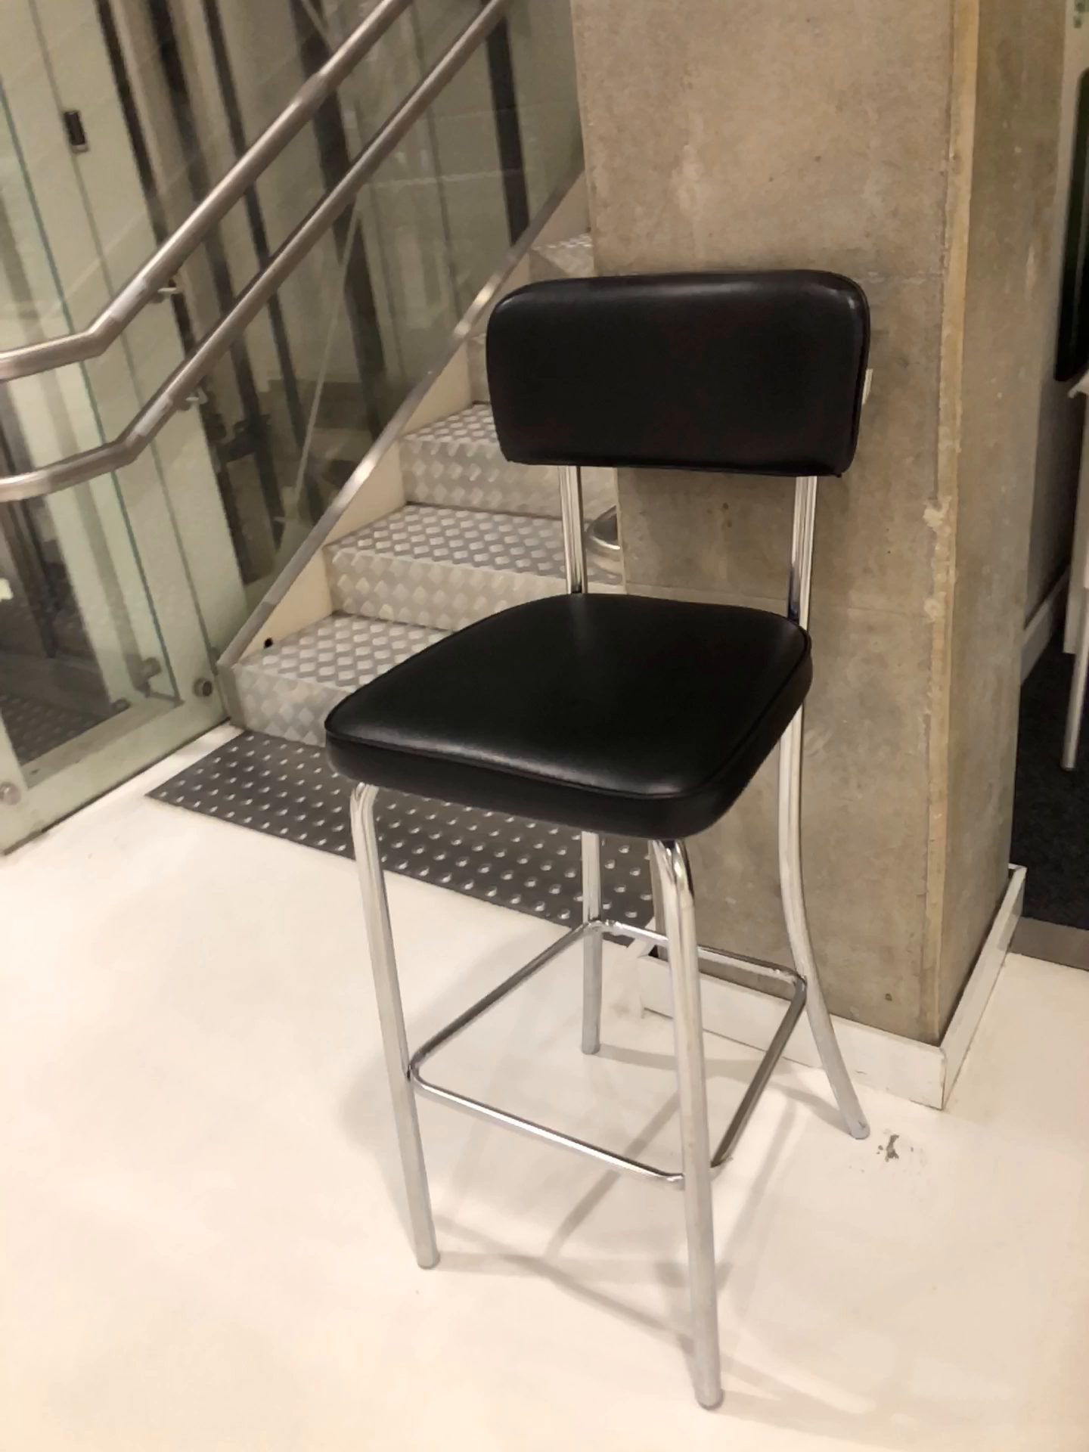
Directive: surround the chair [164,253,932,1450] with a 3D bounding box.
[{"bbox_3d":[0.074,0.105,1.170,0.451,0.983,0.442,11,32,32],"label":"chair"}]
